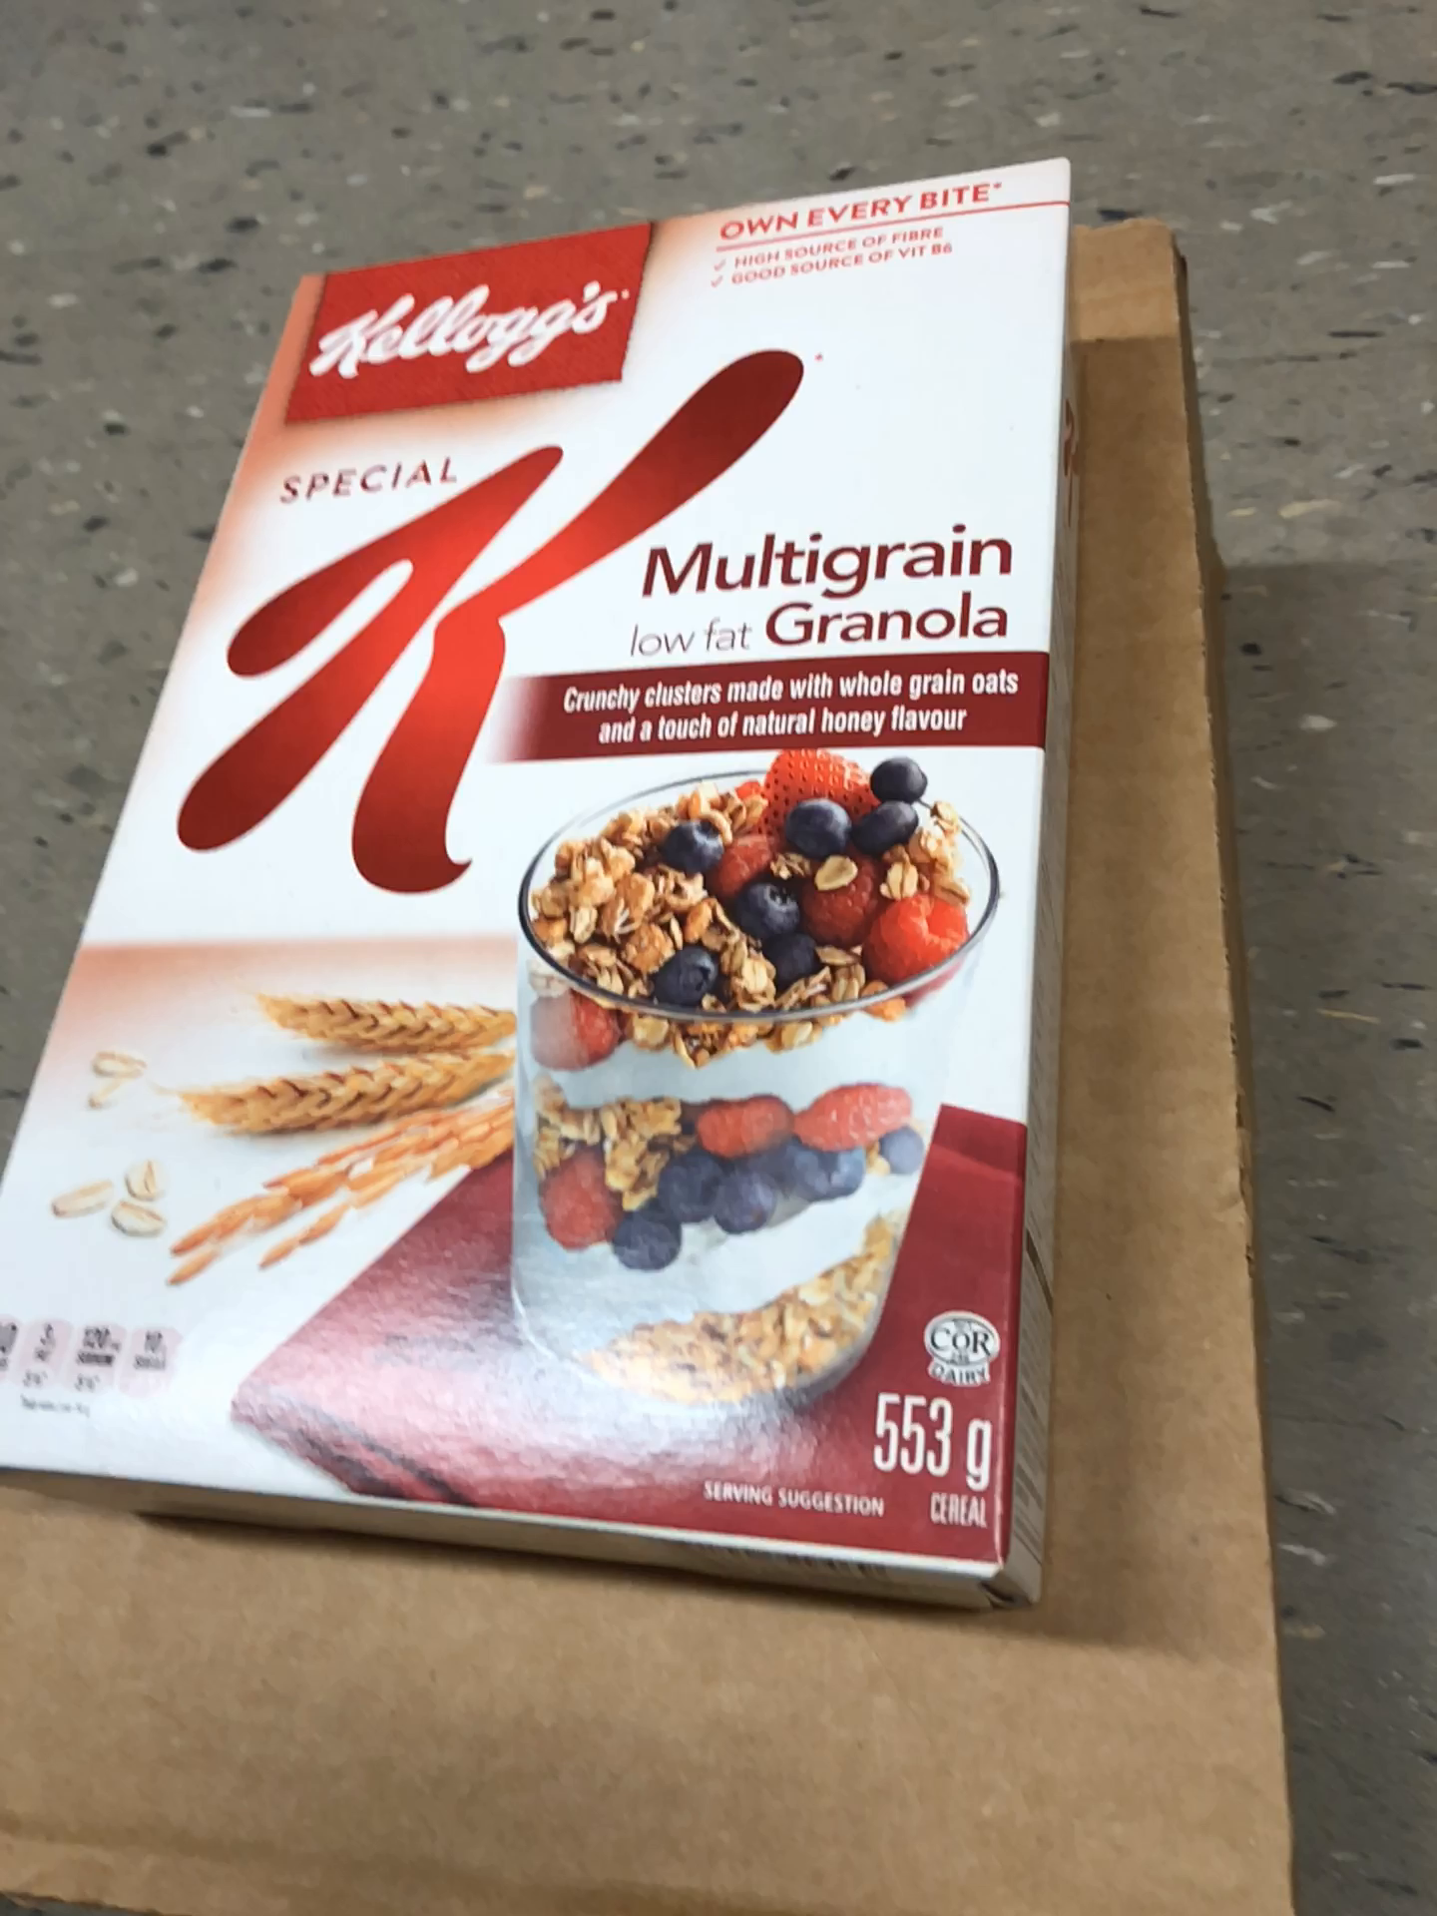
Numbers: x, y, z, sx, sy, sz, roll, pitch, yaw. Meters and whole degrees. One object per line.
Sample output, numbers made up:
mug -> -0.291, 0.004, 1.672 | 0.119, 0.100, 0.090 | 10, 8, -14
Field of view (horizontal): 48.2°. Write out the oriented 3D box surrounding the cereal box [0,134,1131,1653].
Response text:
cereal box -> -0.022, -0.033, 0.289 | 0.180, 0.050, 0.270 | 1, 61, 11
